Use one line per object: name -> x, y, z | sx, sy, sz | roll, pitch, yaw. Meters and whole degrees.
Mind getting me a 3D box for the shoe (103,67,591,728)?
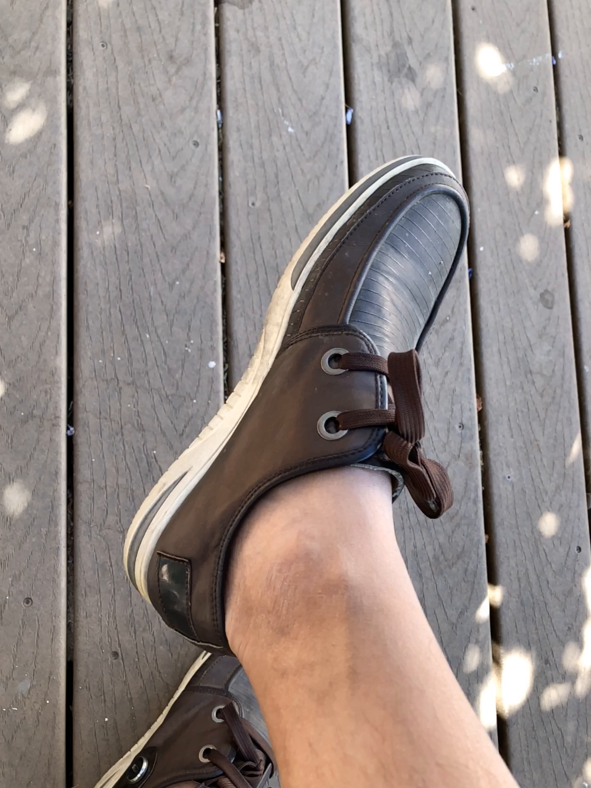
shoe -> 0.042, 0.000, 0.347 | 0.119, 0.104, 0.295 | 35, 84, -33
